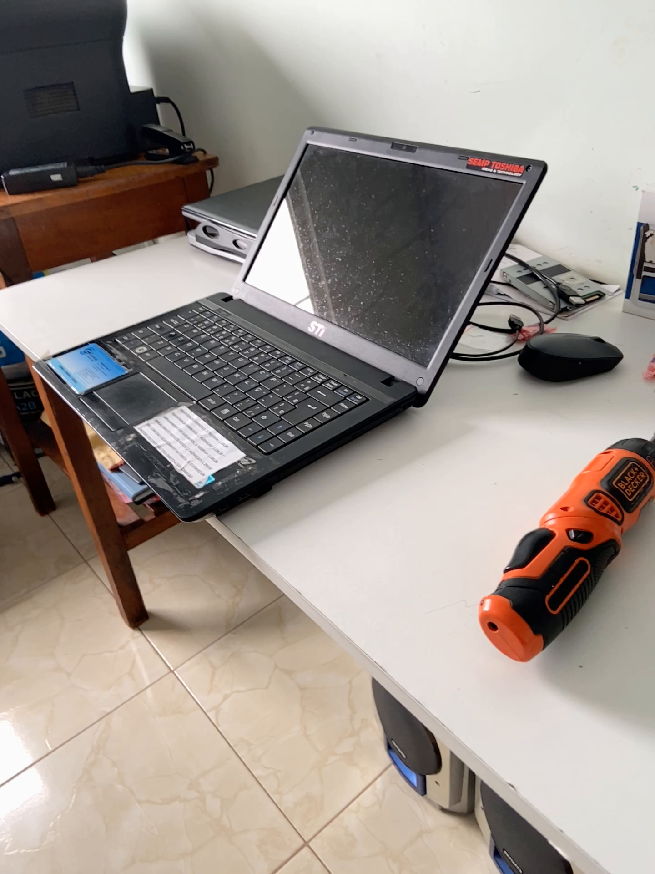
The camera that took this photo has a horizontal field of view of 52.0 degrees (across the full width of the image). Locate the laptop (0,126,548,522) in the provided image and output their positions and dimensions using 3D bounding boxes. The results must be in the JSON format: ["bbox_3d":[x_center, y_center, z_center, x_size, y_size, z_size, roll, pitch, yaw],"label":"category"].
[{"bbox_3d":[-0.062,-0.153,0.632,0.385,0.159,0.336,-28,39,-28],"label":"laptop"}]
